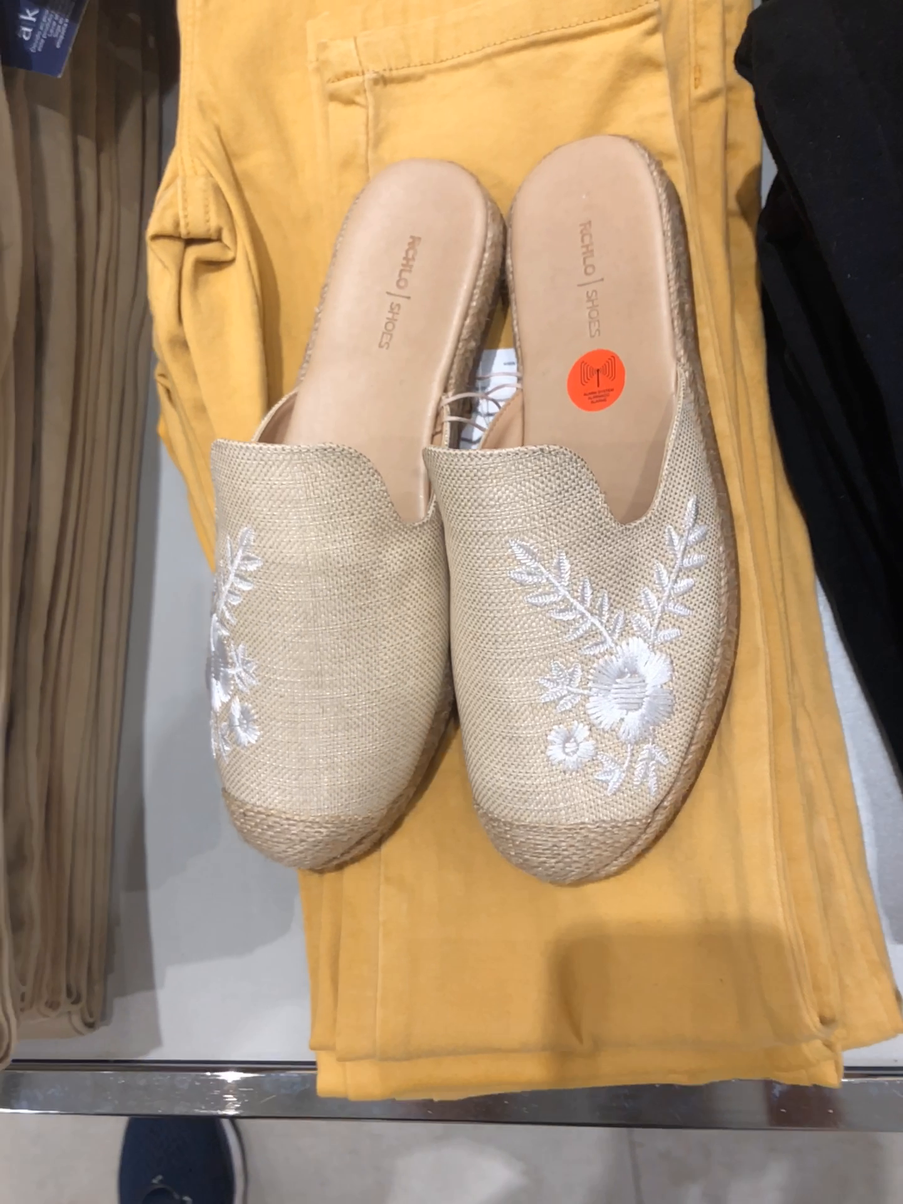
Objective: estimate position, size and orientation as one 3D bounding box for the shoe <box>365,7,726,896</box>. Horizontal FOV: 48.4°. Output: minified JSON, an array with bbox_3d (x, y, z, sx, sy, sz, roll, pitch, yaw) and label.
[{"bbox_3d":[0.035,-0.041,0.307,0.090,0.070,0.240,-1,80,18],"label":"shoe"}]

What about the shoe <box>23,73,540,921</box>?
[{"bbox_3d":[-0.046,-0.035,0.320,0.090,0.070,0.240,9,82,19],"label":"shoe"}]
